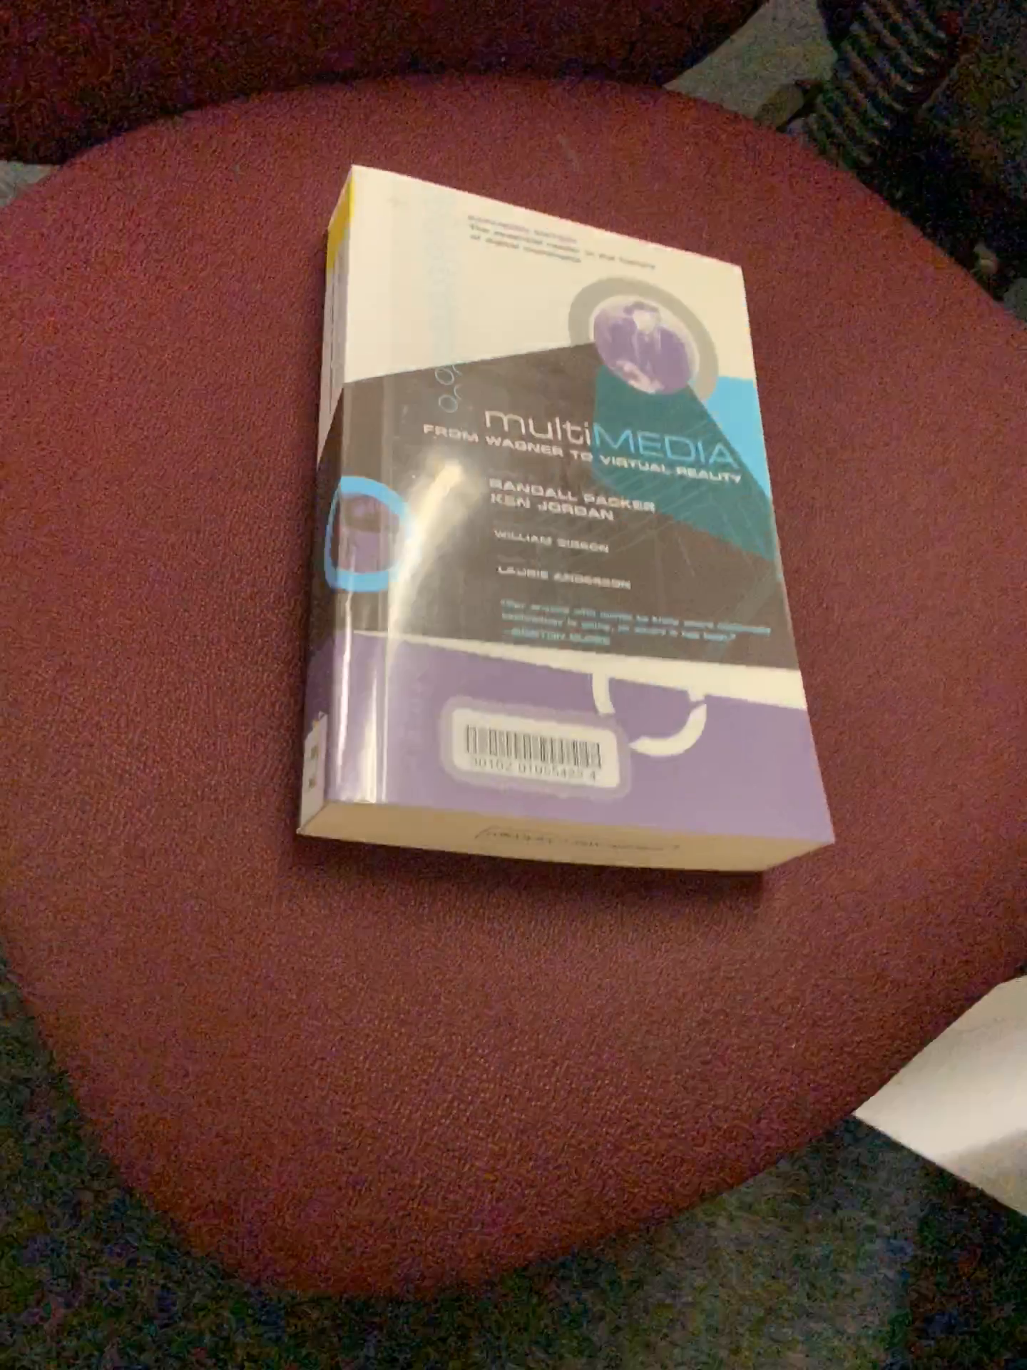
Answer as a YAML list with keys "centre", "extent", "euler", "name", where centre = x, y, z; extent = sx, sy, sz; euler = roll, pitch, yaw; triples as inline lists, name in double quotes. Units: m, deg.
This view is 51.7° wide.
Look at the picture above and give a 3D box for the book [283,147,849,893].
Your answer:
- centre: [0.012, -0.060, 0.360]
  extent: [0.160, 0.040, 0.249]
  euler: [6, 63, -19]
  name: "book"
